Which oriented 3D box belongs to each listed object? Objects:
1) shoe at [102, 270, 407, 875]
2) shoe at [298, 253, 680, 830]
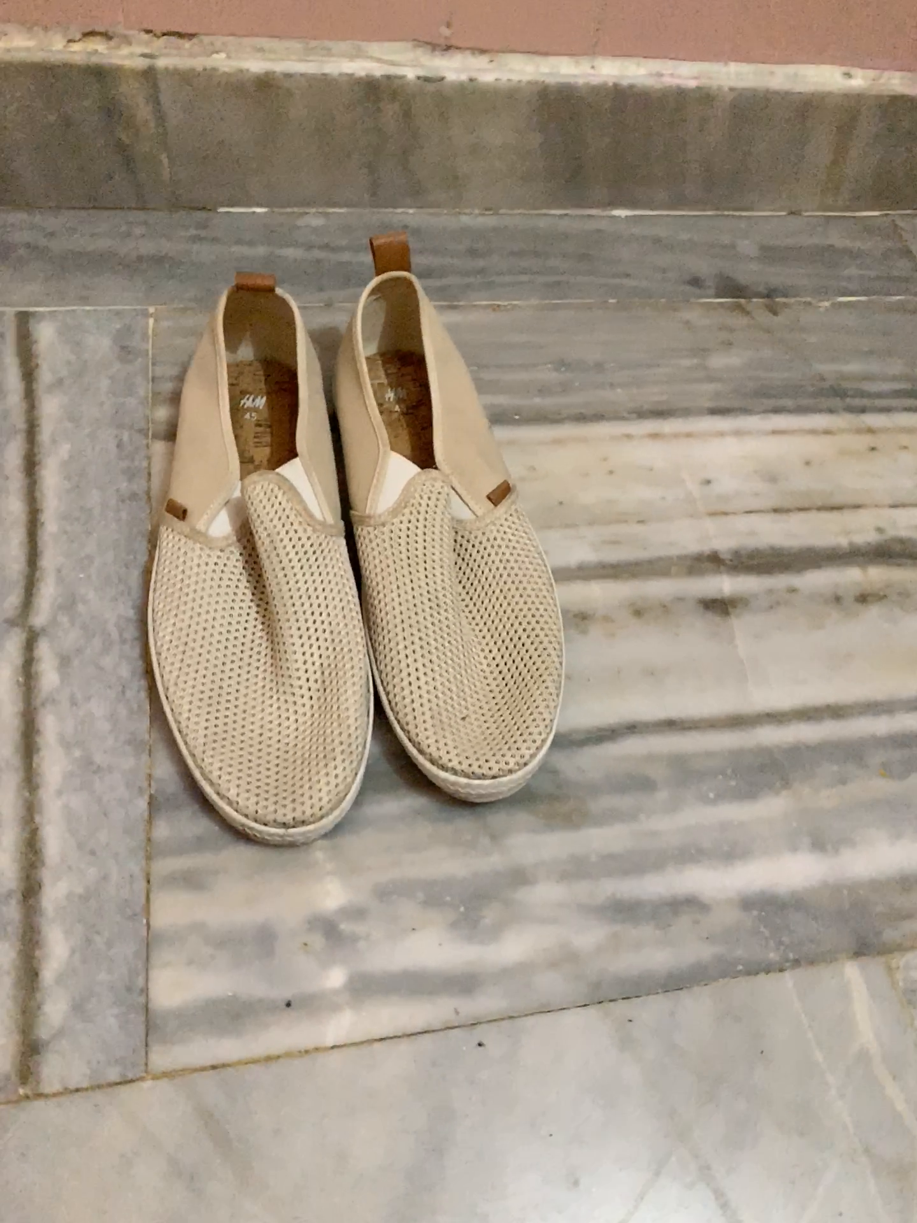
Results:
[{"bbox_3d":[-0.107,-0.038,0.477,0.116,0.080,0.310,-4,58,-11],"label":"shoe"},{"bbox_3d":[-0.003,-0.055,0.503,0.116,0.080,0.310,-8,59,-14],"label":"shoe"}]
